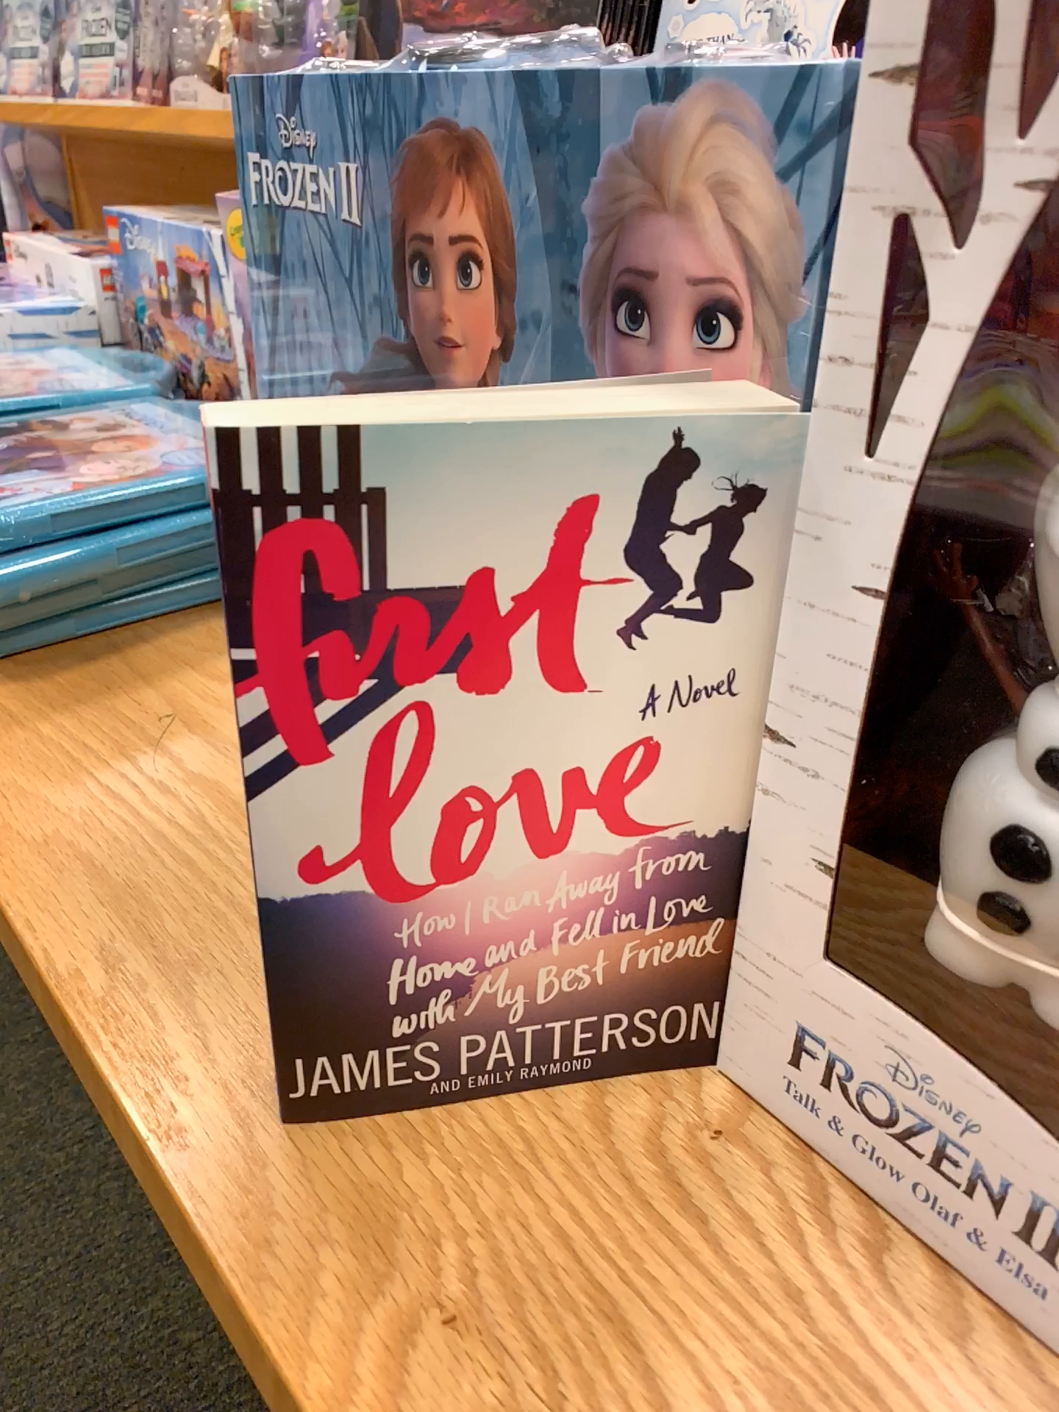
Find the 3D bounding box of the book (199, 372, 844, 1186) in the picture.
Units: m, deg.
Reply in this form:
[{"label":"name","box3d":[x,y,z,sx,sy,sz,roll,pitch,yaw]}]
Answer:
[{"label":"book","box3d":[-0.006,0.020,0.301,0.142,0.205,0.059,-6,26,-14]}]
